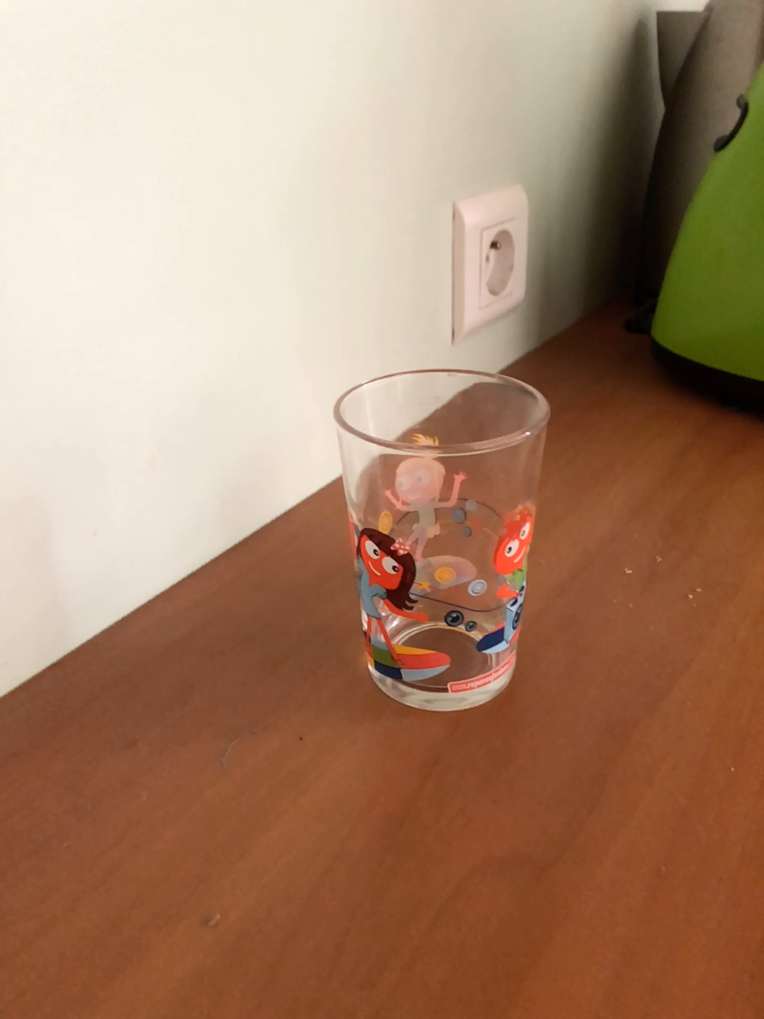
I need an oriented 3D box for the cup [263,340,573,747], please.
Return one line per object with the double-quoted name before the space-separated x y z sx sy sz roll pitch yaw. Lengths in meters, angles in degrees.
"cup" 0.015 0.007 0.278 0.070 0.099 0.070 -2 28 1
